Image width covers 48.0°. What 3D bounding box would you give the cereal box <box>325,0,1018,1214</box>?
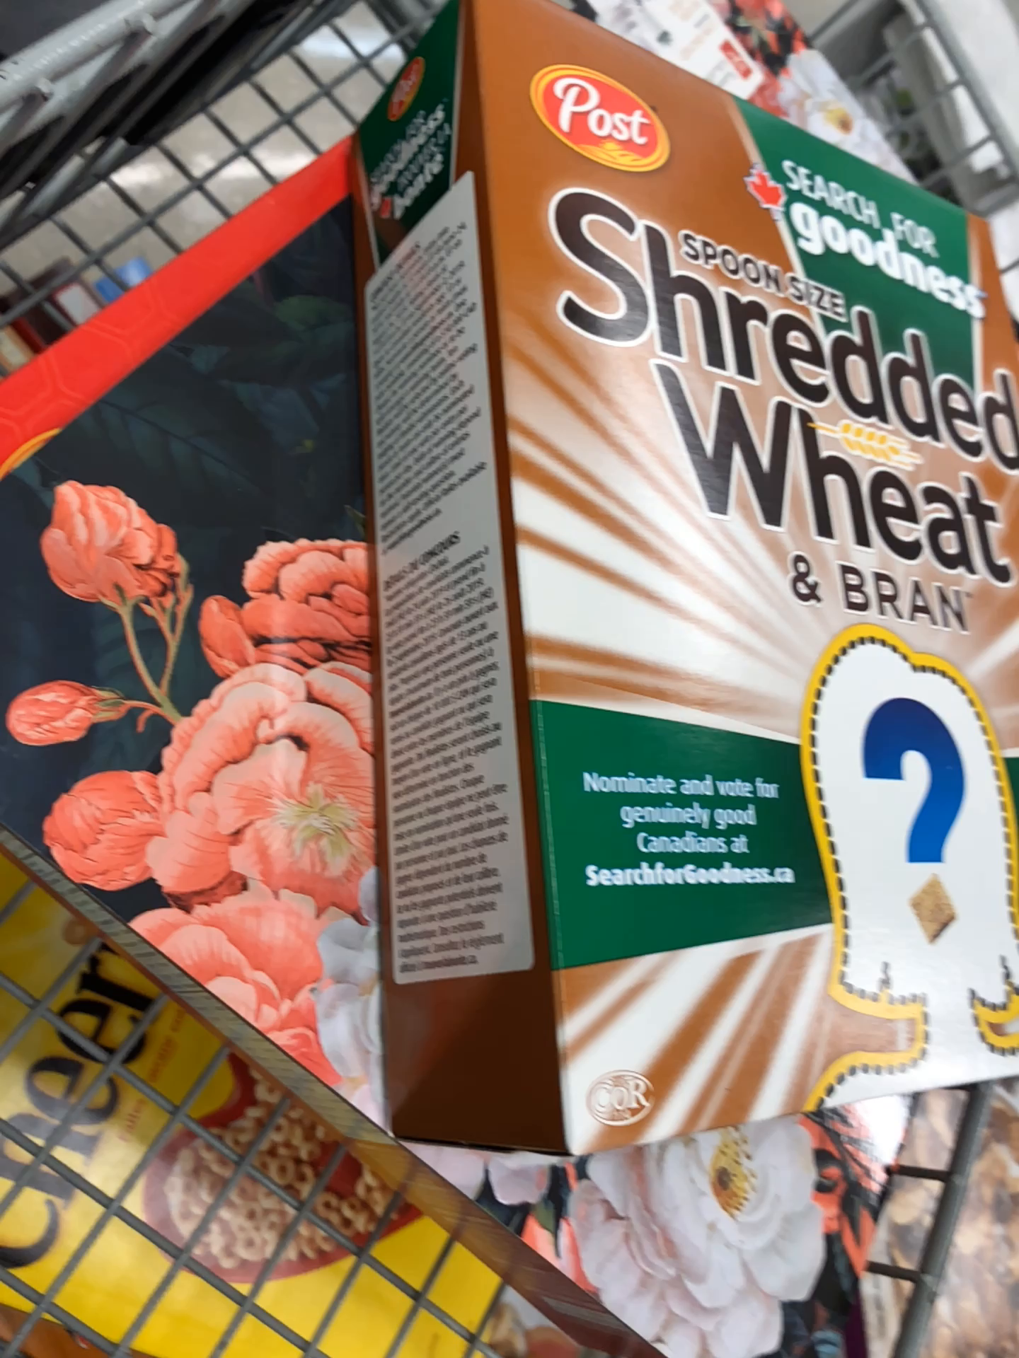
[{"bbox_3d":[0.067,-0.031,0.322,0.221,0.070,0.300,9,67,-35],"label":"cereal box"}]
